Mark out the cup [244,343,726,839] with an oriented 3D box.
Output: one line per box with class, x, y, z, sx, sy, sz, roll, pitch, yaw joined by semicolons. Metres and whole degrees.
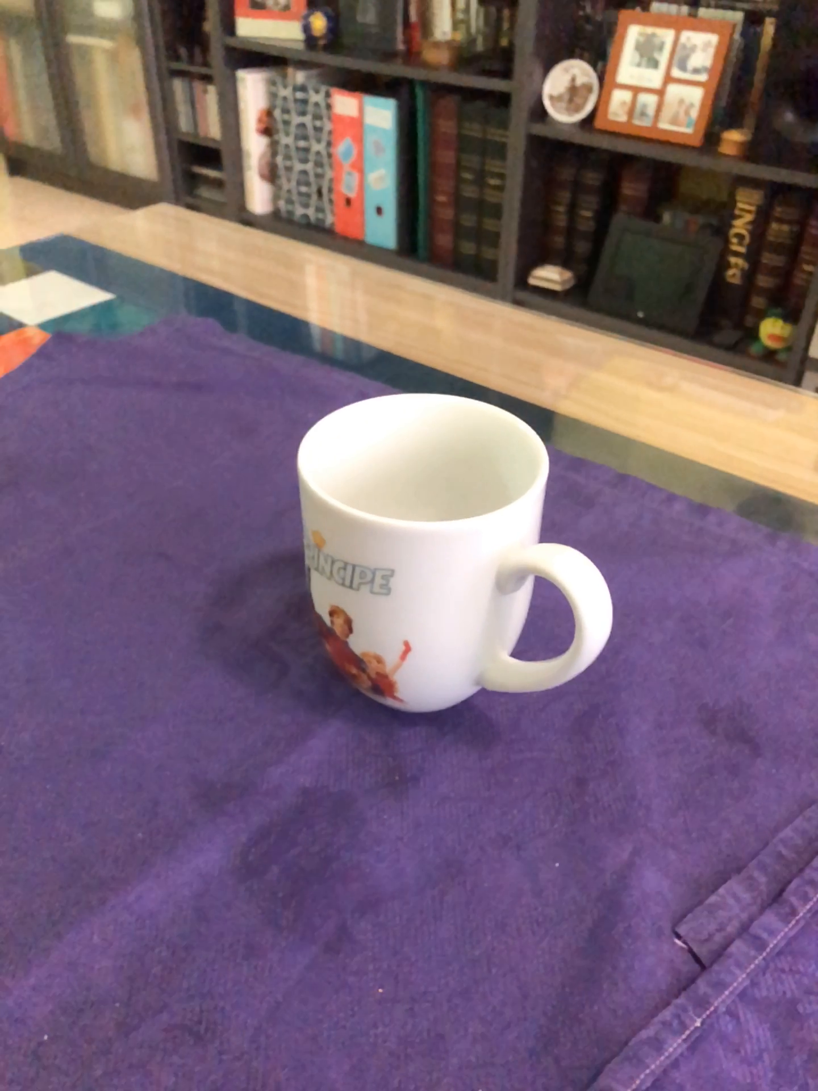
cup;0.018;0.006;0.296;0.080;0.090;0.120;-28;45;-33
